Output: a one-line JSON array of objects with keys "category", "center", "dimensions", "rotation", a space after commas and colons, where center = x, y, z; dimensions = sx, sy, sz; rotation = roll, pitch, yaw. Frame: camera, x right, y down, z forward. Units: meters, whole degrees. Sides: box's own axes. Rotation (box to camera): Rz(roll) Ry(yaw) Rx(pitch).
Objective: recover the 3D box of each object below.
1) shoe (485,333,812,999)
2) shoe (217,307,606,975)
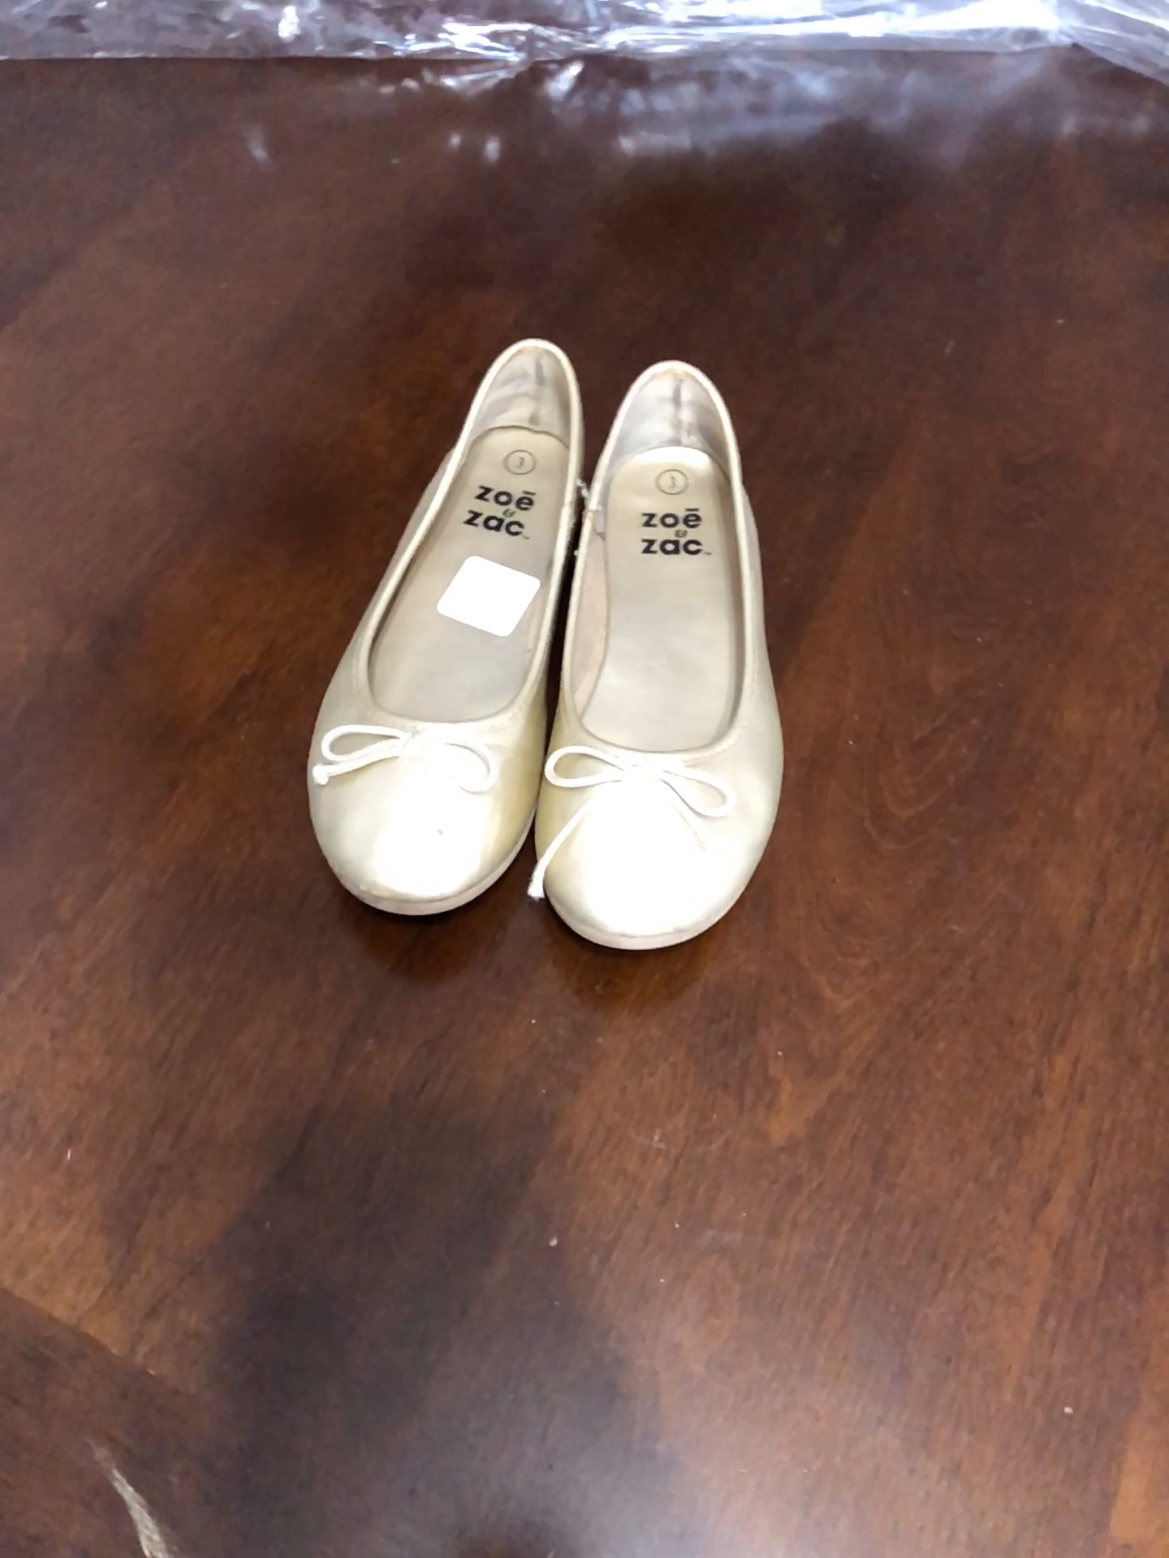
[{"category": "shoe", "center": [0.028, -0.048, 0.456], "dimensions": [0.090, 0.070, 0.230], "rotation": [5, 59, 3]}, {"category": "shoe", "center": [-0.048, -0.057, 0.454], "dimensions": [0.080, 0.070, 0.230], "rotation": [7, 59, 4]}]
